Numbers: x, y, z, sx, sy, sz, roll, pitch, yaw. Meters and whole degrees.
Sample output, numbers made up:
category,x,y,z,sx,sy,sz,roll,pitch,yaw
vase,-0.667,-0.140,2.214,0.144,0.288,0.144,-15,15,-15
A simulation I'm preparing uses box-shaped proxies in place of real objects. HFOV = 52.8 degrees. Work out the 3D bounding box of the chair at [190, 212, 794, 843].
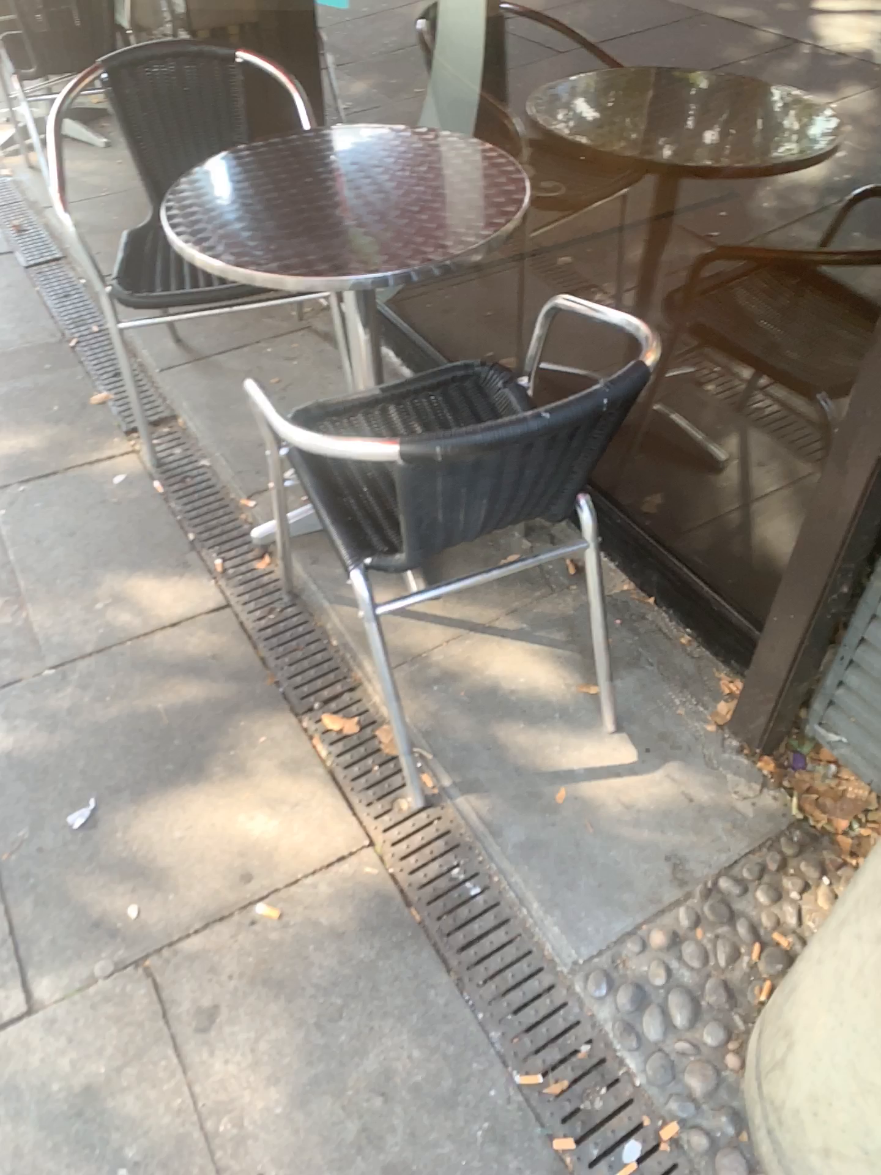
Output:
category,x,y,z,sx,sy,sz,roll,pitch,yaw
chair,0.028,-0.126,1.413,0.601,0.604,0.645,-17,47,-16
